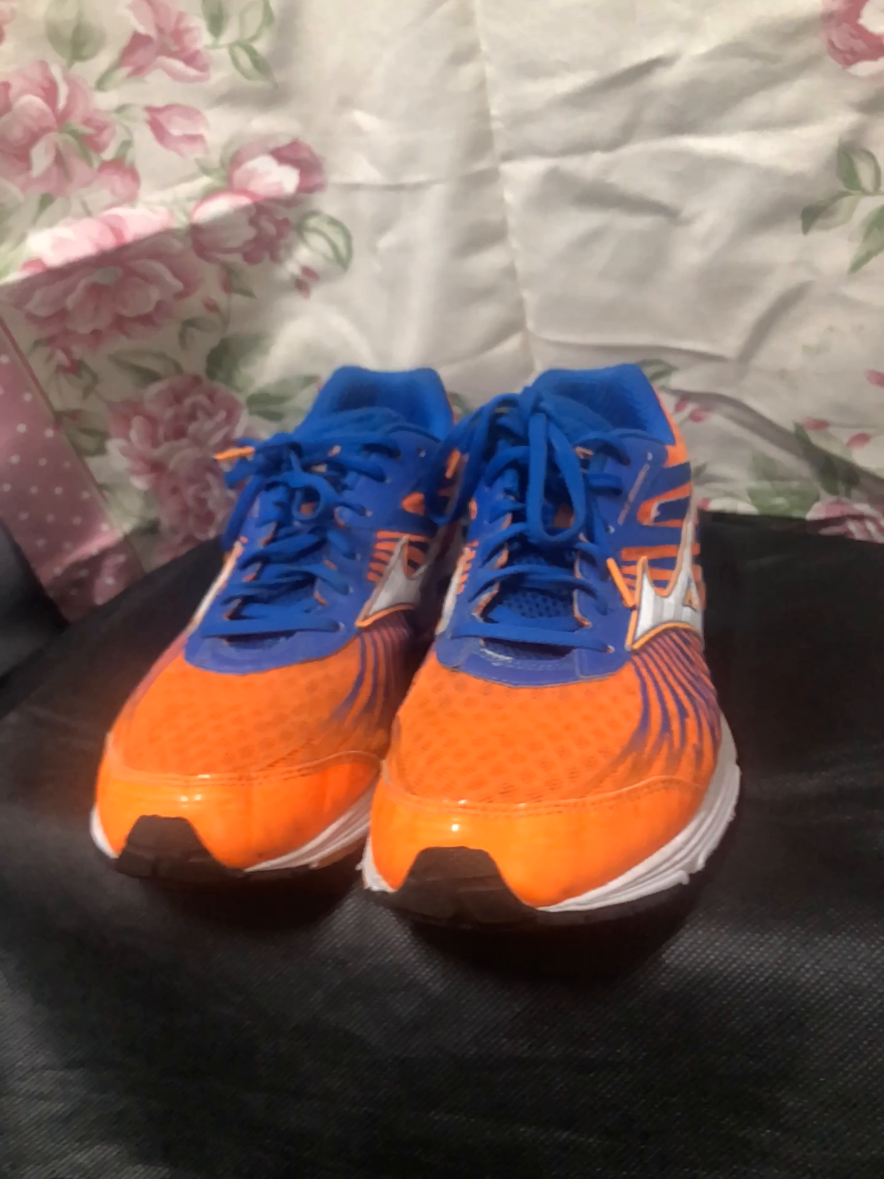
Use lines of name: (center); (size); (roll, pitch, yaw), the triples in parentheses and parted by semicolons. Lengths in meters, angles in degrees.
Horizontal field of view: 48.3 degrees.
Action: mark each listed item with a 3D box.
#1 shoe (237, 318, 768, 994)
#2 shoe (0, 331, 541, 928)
shoe: (0.041, -0.005, 0.319); (0.110, 0.109, 0.222); (1, 27, 15)
shoe: (-0.040, -0.009, 0.353); (0.110, 0.109, 0.222); (1, 27, 15)
